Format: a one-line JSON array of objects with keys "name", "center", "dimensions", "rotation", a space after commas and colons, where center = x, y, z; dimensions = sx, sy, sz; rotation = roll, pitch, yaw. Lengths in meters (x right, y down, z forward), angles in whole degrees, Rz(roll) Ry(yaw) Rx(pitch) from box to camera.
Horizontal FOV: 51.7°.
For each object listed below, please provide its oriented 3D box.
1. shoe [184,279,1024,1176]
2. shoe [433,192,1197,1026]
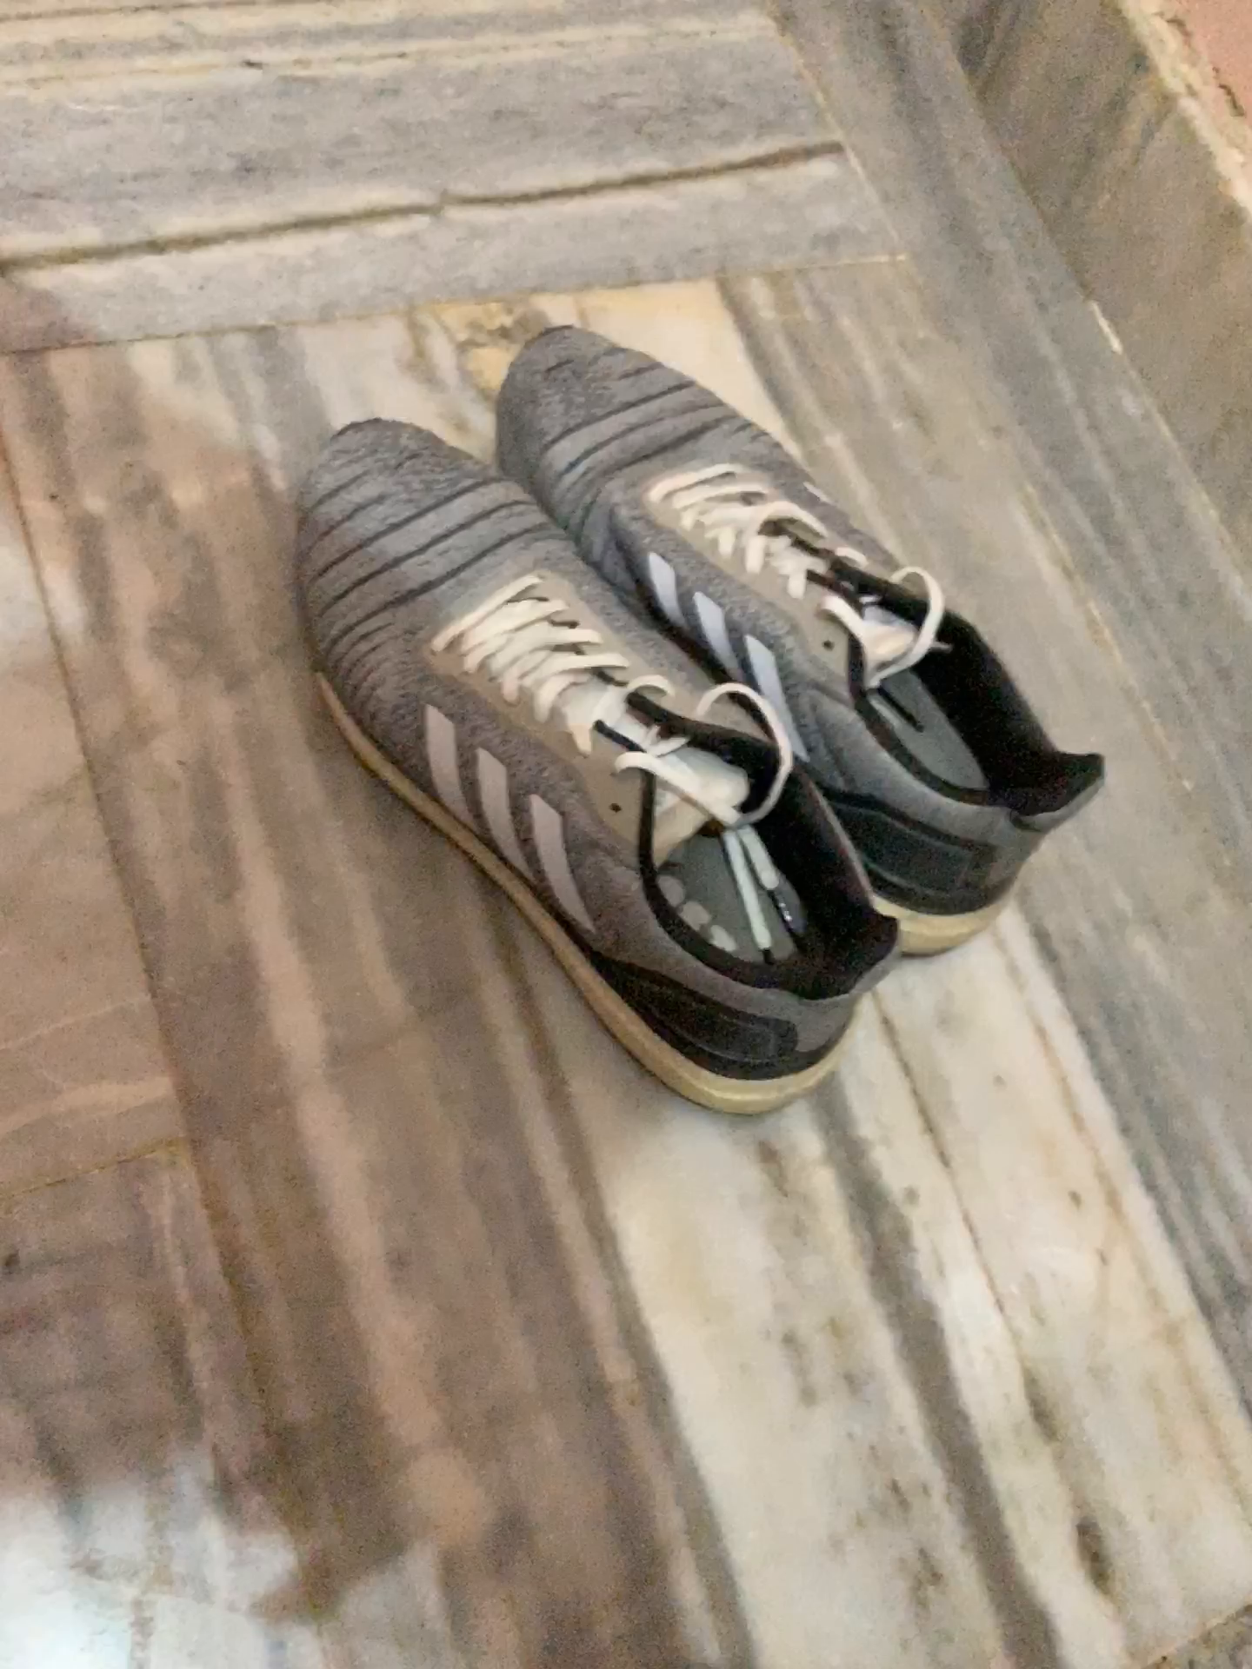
[{"name": "shoe", "center": [-0.017, -0.040, 0.468], "dimensions": [0.120, 0.090, 0.300], "rotation": [-36, 82, -25]}, {"name": "shoe", "center": [0.062, -0.091, 0.503], "dimensions": [0.110, 0.080, 0.310], "rotation": [-32, 80, -24]}]
